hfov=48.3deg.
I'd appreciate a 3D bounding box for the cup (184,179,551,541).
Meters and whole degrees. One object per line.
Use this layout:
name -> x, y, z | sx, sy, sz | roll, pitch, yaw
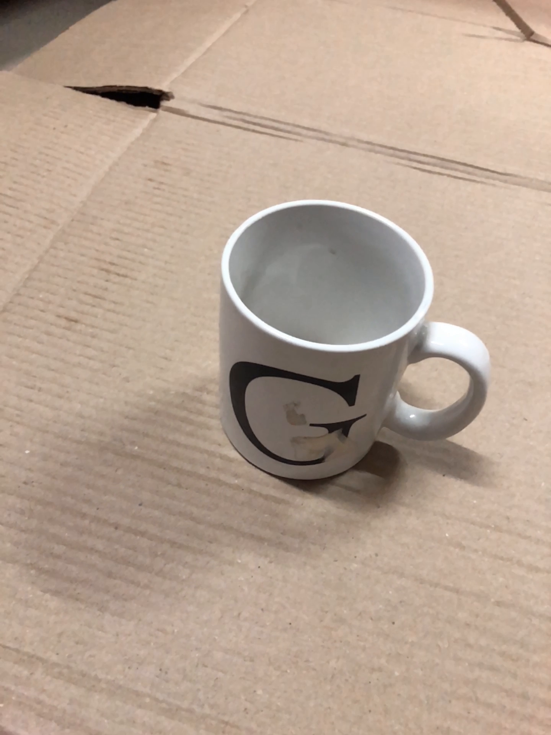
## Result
cup -> 0.033, -0.004, 0.232 | 0.110, 0.080, 0.080 | 15, 47, 8
